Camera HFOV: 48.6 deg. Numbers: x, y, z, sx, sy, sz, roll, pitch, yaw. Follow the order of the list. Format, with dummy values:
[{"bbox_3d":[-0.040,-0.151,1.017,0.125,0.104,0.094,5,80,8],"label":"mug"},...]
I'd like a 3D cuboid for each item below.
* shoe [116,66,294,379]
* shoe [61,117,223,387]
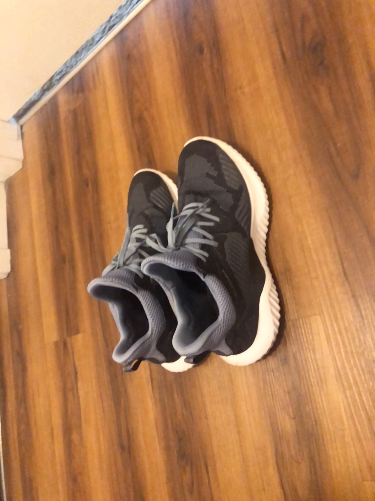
[{"bbox_3d":[0.017,-0.023,0.519,0.132,0.130,0.334,-15,76,40],"label":"shoe"},{"bbox_3d":[-0.072,0.008,0.597,0.133,0.135,0.333,-20,73,39],"label":"shoe"}]
